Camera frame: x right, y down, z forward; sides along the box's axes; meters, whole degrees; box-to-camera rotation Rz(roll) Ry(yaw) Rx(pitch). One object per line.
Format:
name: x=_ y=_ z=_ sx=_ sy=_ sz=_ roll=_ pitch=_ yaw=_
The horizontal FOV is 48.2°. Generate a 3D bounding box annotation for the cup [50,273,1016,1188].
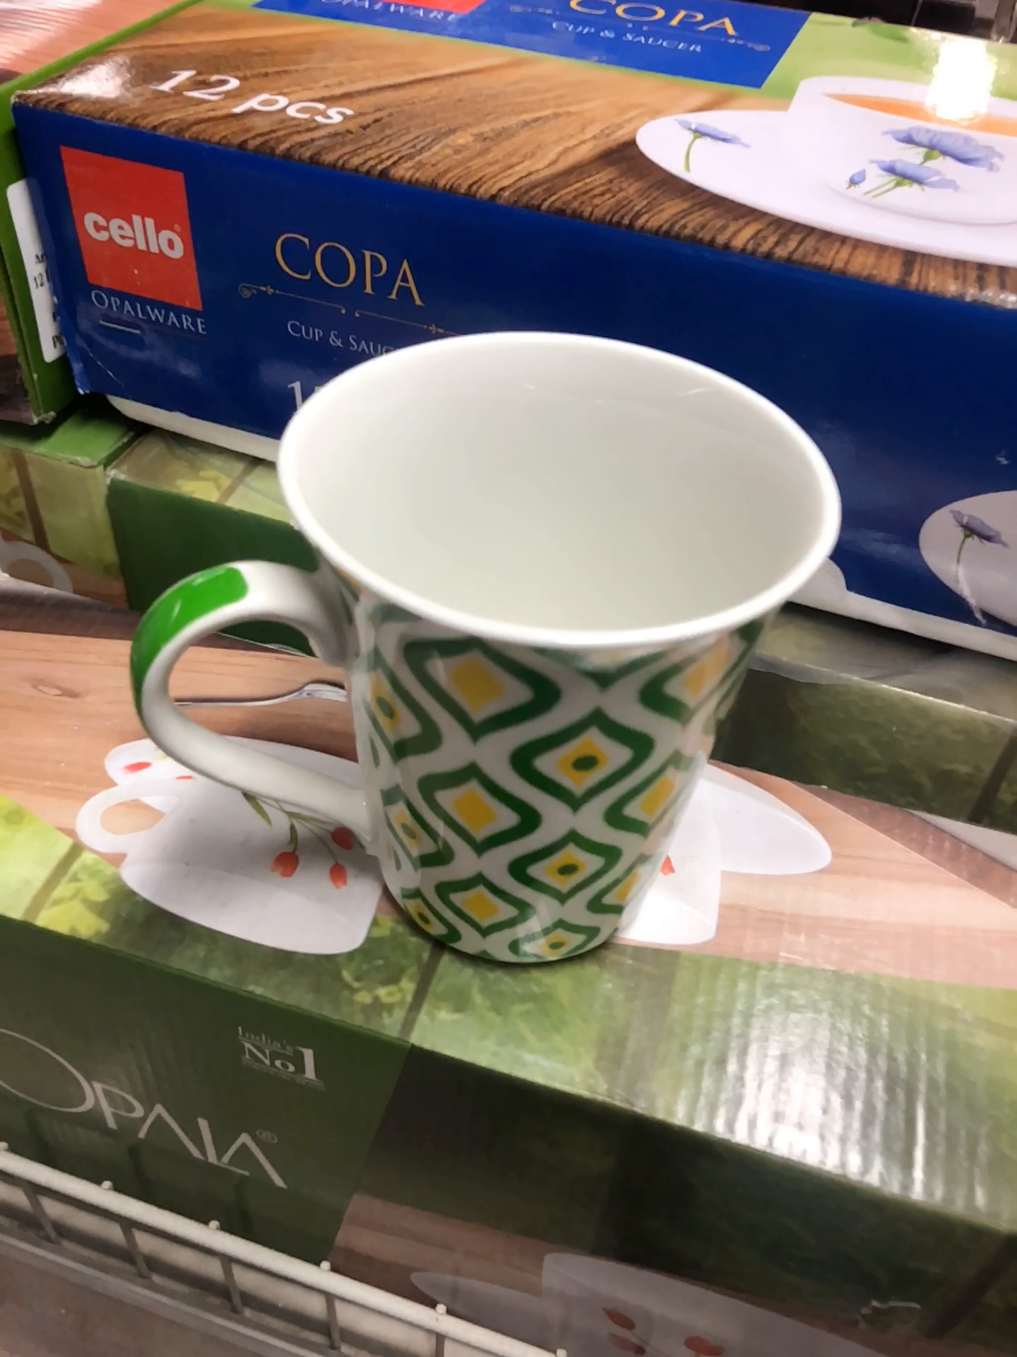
cup: x=0.001 y=0.007 z=0.202 sx=0.120 sy=0.109 sz=0.080 roll=-16 pitch=50 yaw=-19
